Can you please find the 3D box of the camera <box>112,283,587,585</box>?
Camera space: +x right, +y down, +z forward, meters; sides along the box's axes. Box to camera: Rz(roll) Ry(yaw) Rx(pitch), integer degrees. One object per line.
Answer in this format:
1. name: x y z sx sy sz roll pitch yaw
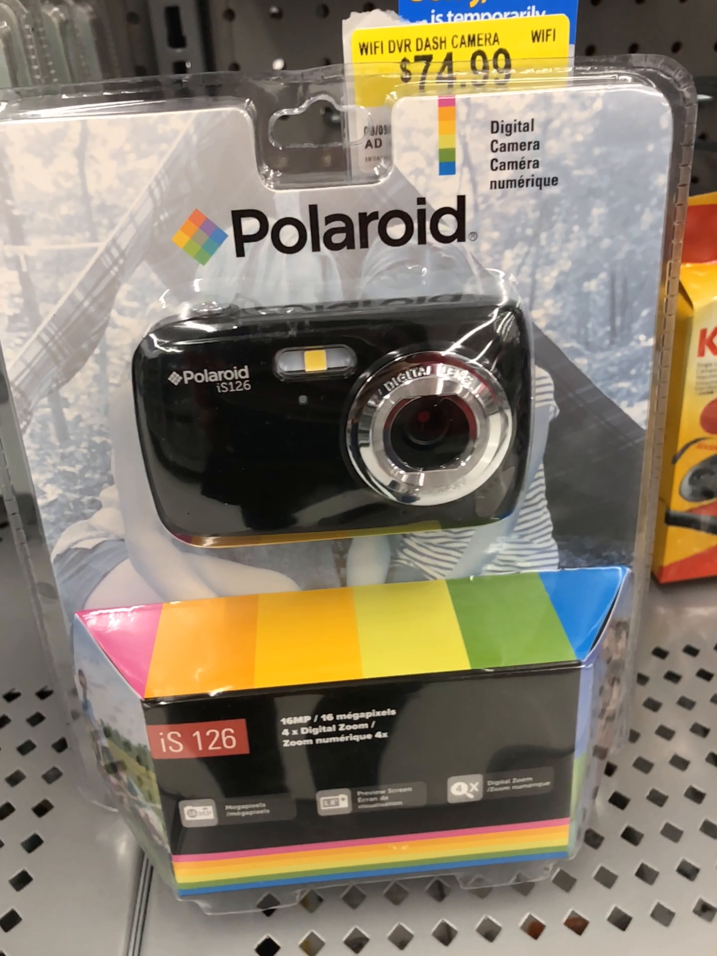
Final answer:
1. camera: -0.001 -0.010 0.198 0.100 0.060 0.030 -4 34 -3
